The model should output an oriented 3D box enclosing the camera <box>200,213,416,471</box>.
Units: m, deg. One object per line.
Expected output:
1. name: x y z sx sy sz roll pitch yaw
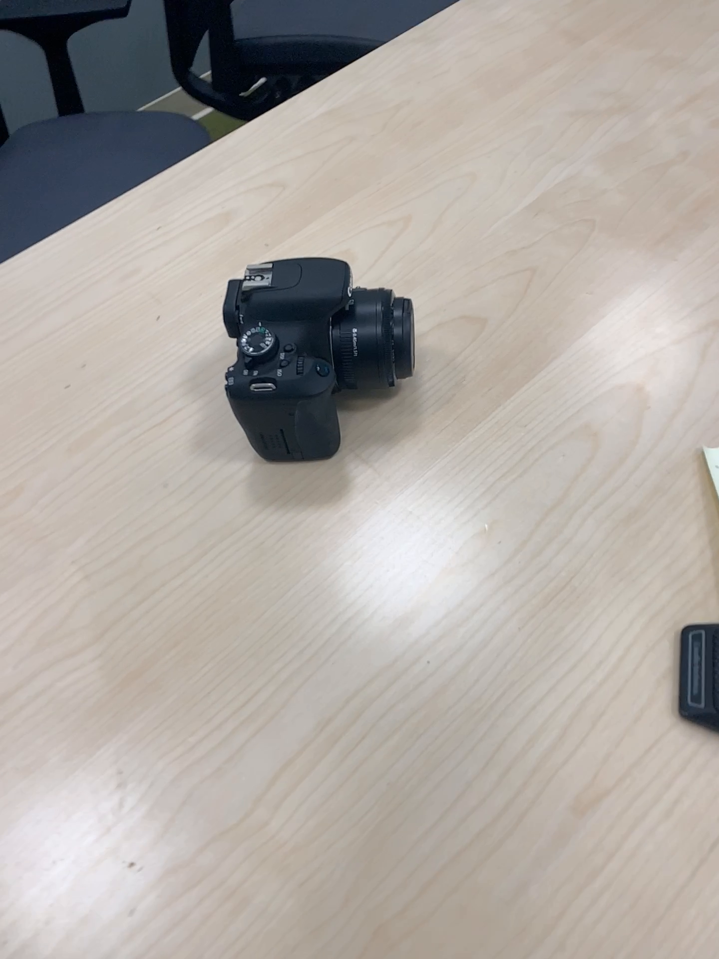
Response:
1. camera: -0.024 -0.093 0.503 0.123 0.100 0.140 -1 55 6
